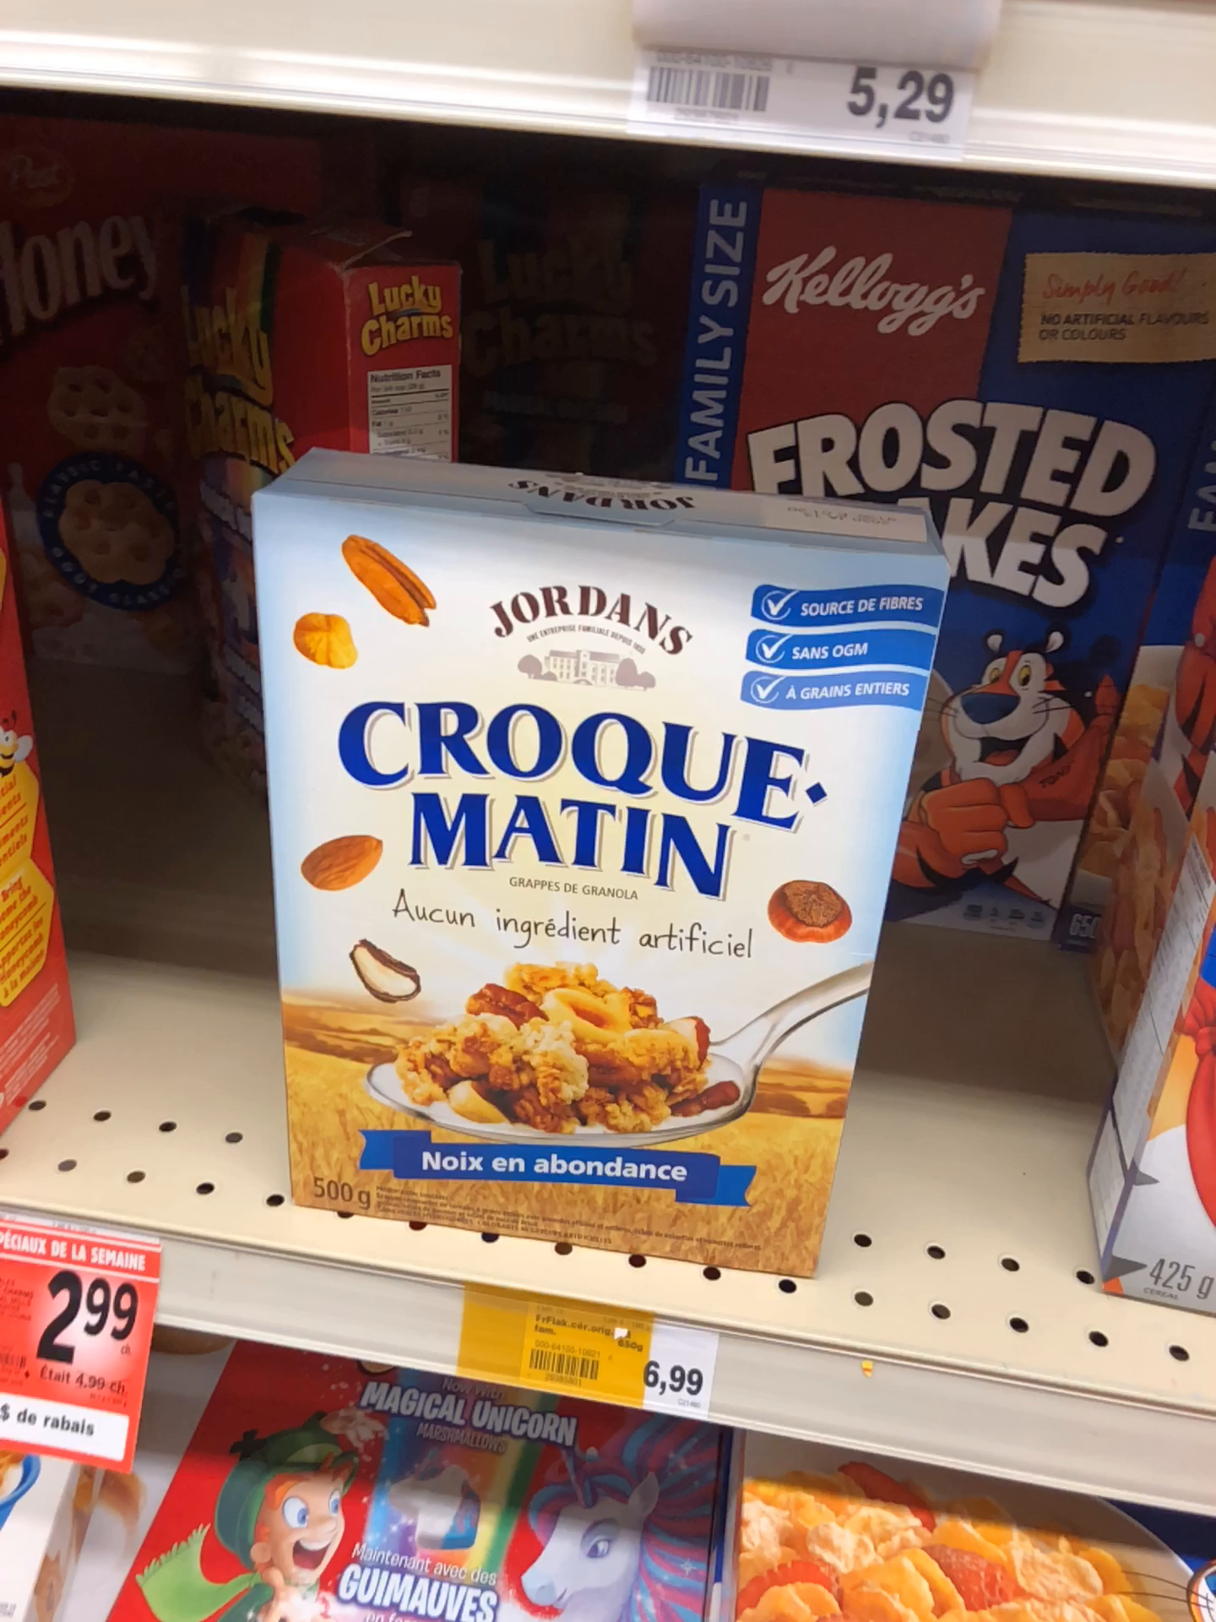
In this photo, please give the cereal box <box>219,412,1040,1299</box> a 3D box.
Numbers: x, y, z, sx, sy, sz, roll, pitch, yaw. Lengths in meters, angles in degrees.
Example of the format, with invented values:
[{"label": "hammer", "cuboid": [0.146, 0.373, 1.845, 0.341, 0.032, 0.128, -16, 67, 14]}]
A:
[{"label": "cereal box", "cuboid": [-0.003, 0.025, 0.408, 0.200, 0.258, 0.050, 6, 29, 4]}]
